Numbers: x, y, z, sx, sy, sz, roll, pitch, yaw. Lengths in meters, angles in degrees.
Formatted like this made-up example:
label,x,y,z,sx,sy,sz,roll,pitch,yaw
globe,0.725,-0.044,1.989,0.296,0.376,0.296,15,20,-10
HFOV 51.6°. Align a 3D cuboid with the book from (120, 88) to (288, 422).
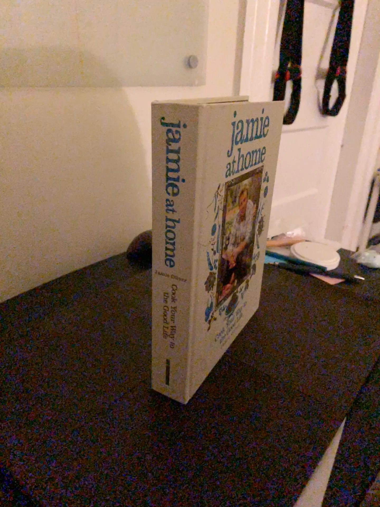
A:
label,x,y,z,sx,sy,sz,roll,pitch,yaw
book,0.022,-0.017,0.388,0.050,0.269,0.211,15,27,26
